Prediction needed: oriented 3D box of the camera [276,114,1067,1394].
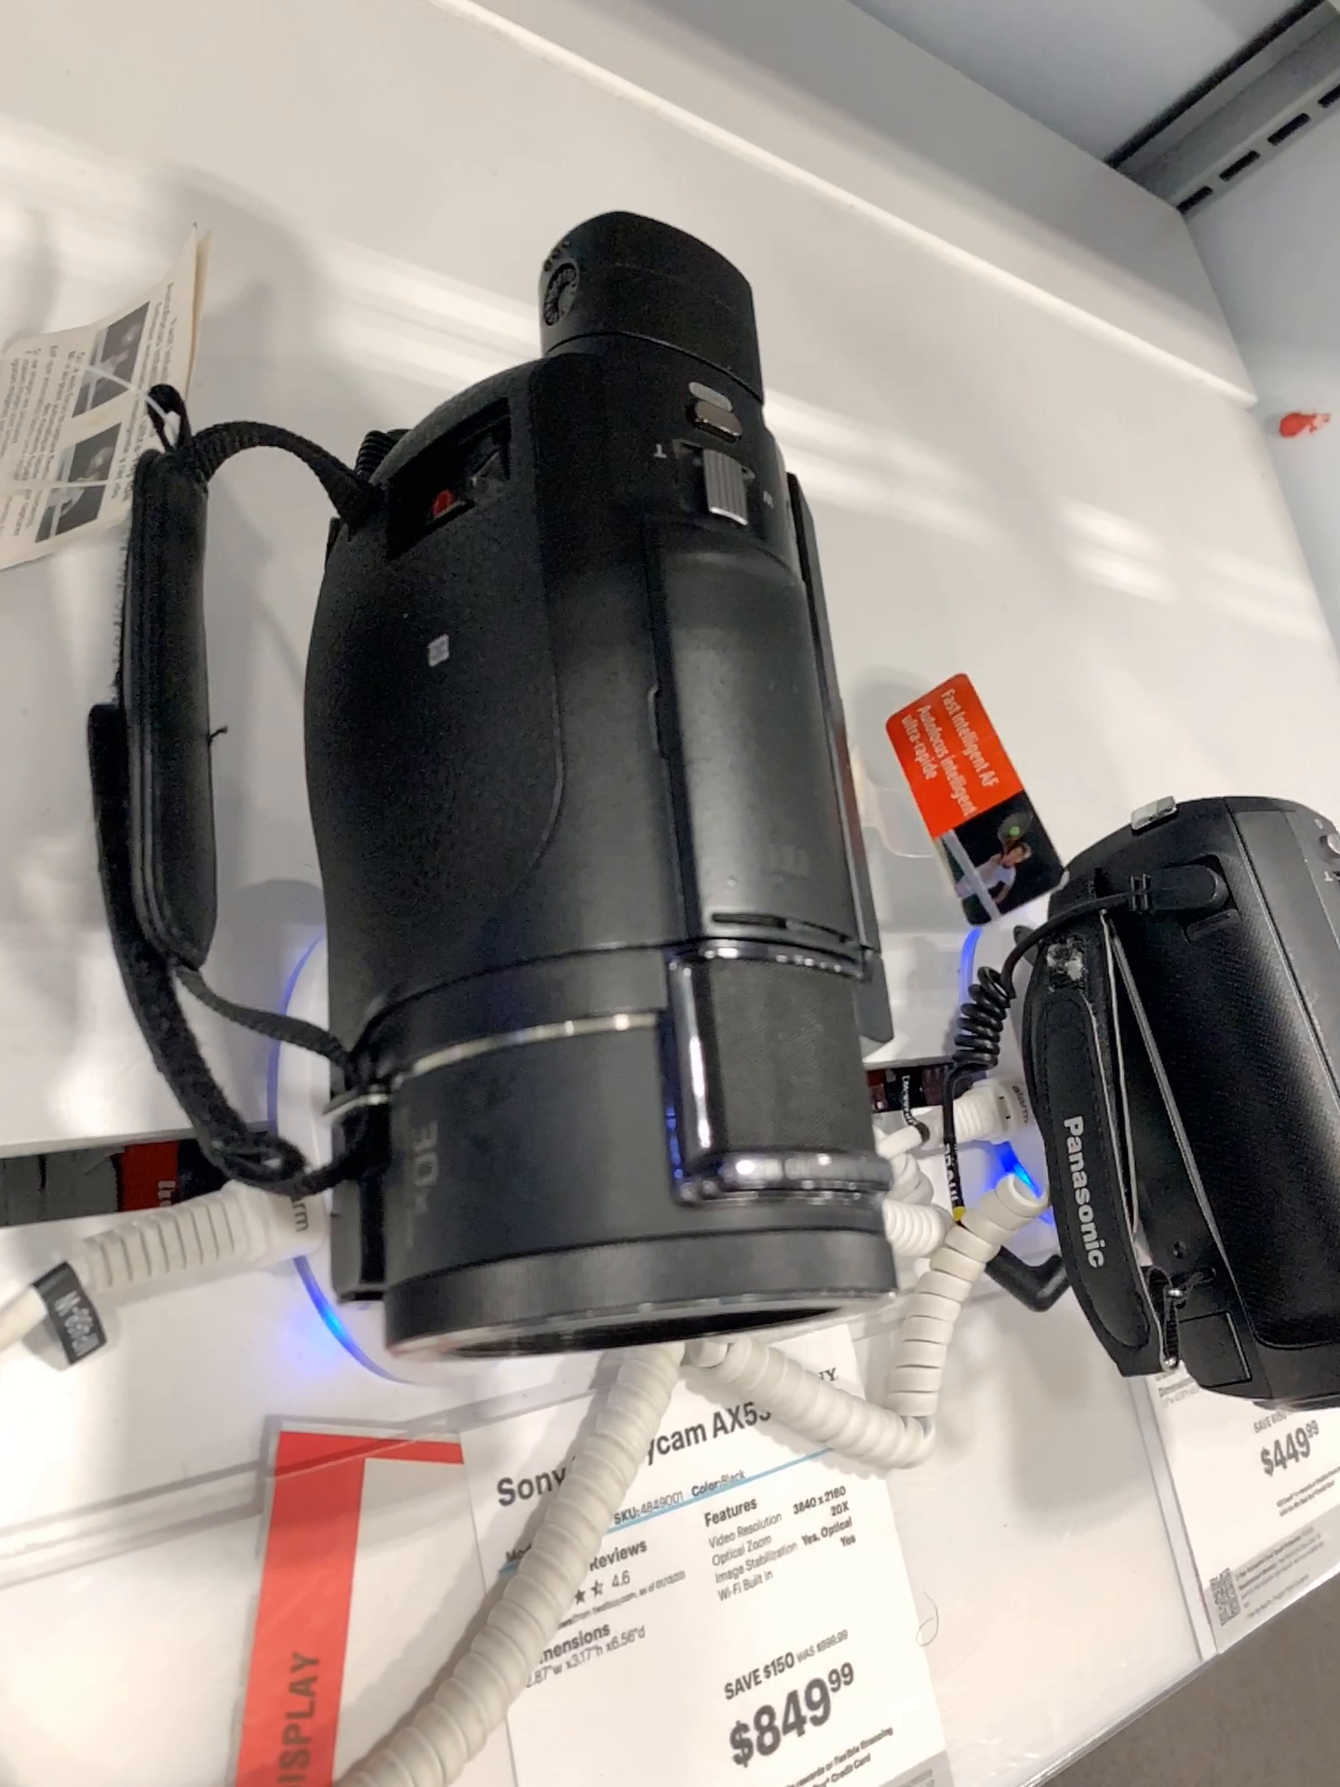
[{"bbox_3d":[-0.007,-0.013,0.199,0.070,0.071,0.151,11,64,-38],"label":"camera"}]
